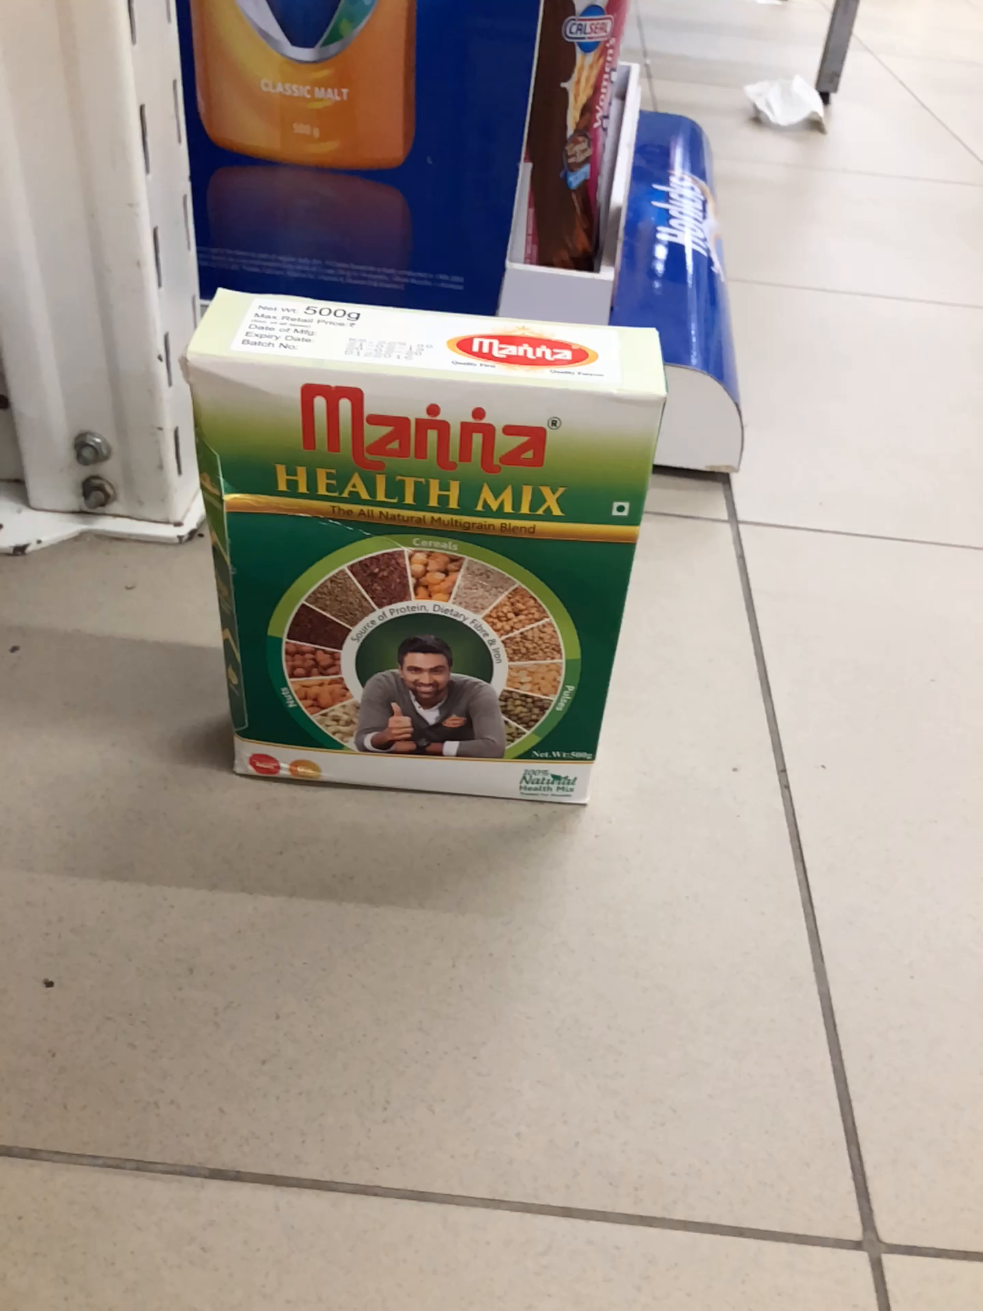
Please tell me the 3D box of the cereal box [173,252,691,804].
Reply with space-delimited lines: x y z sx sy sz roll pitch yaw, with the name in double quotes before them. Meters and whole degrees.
"cereal box" -0.025 -0.035 0.393 0.150 0.189 0.050 5 40 -3
